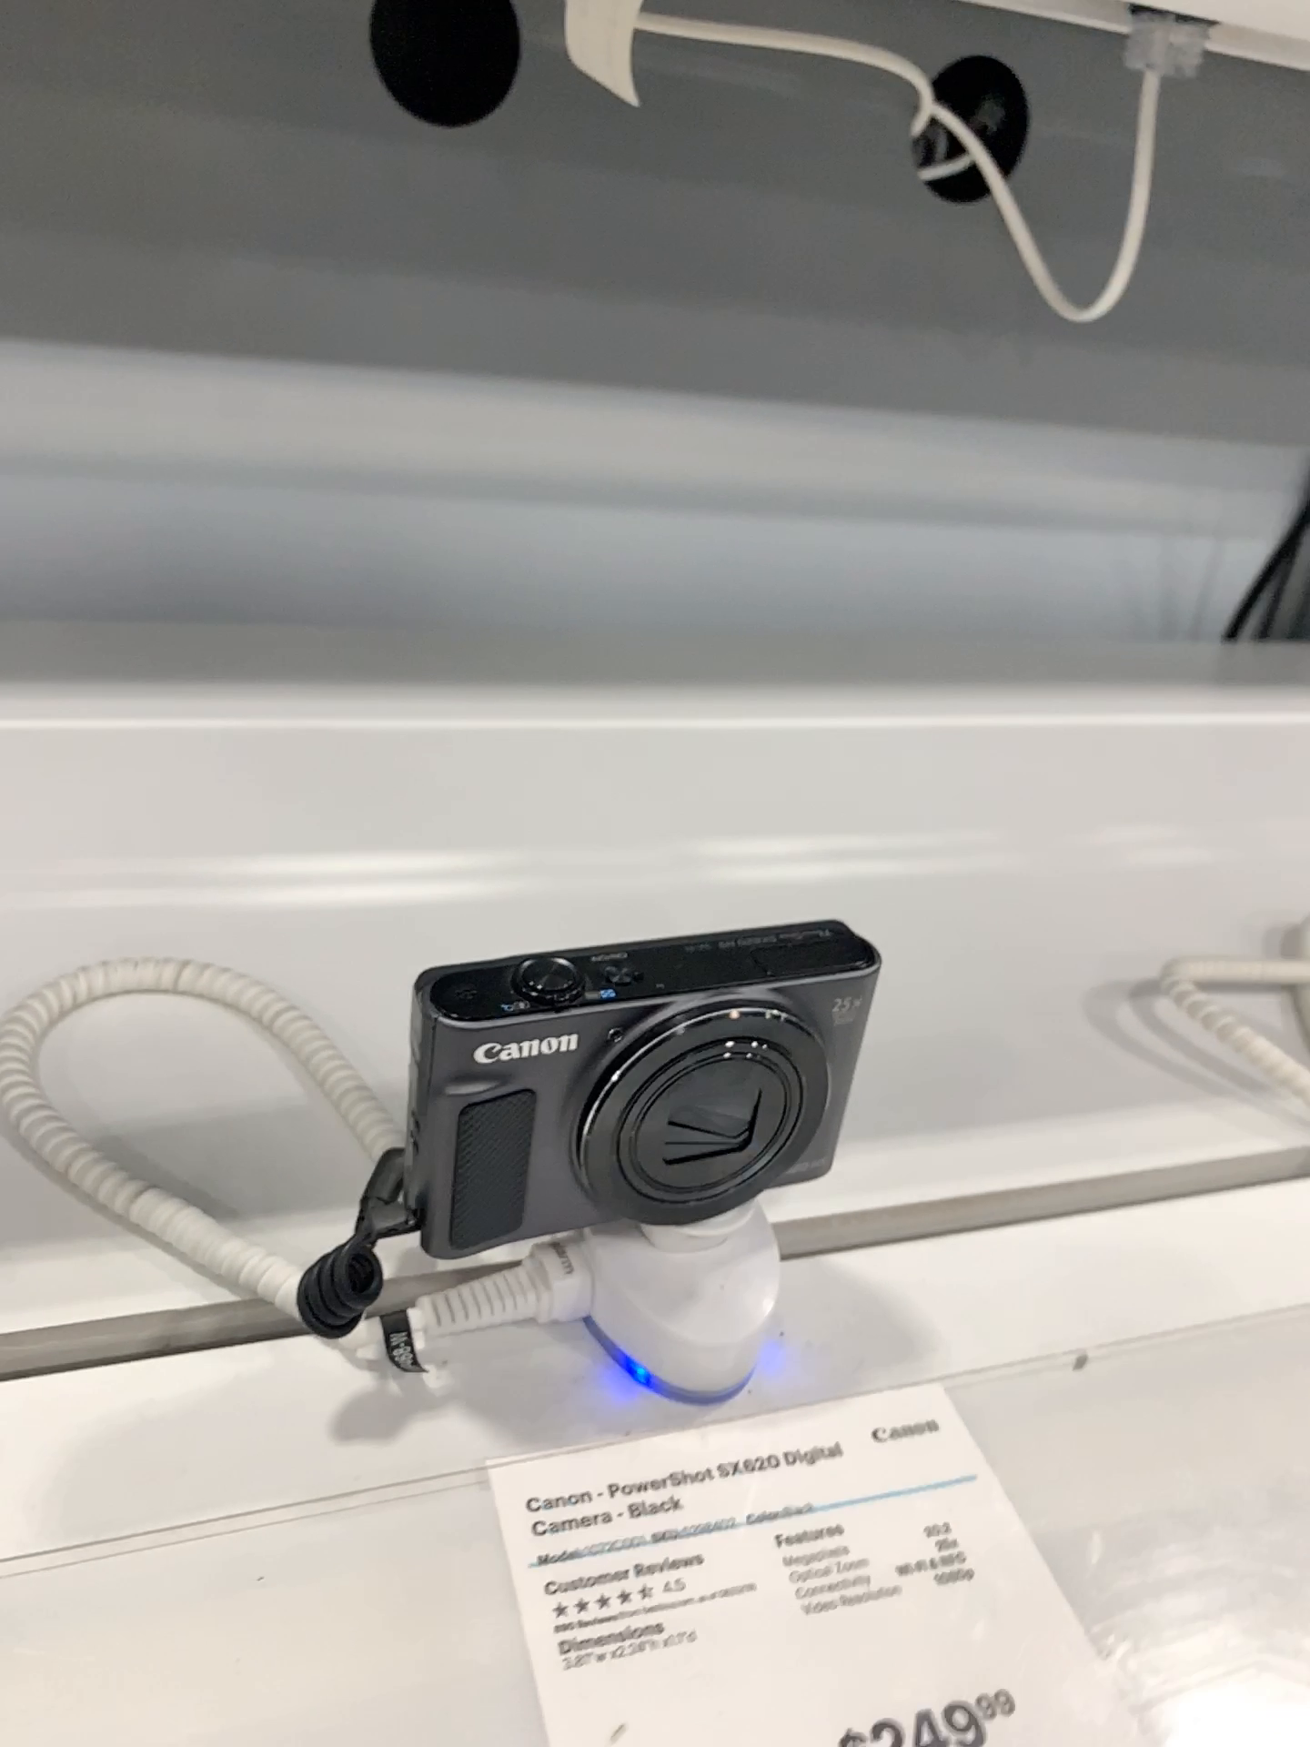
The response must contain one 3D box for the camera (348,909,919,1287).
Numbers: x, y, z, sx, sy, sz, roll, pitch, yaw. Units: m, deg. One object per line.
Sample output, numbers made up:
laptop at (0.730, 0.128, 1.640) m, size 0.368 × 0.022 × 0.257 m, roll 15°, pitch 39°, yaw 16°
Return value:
camera at (-0.005, 0.040, 0.264) m, size 0.100 × 0.050 × 0.031 m, roll -4°, pitch 30°, yaw -25°
